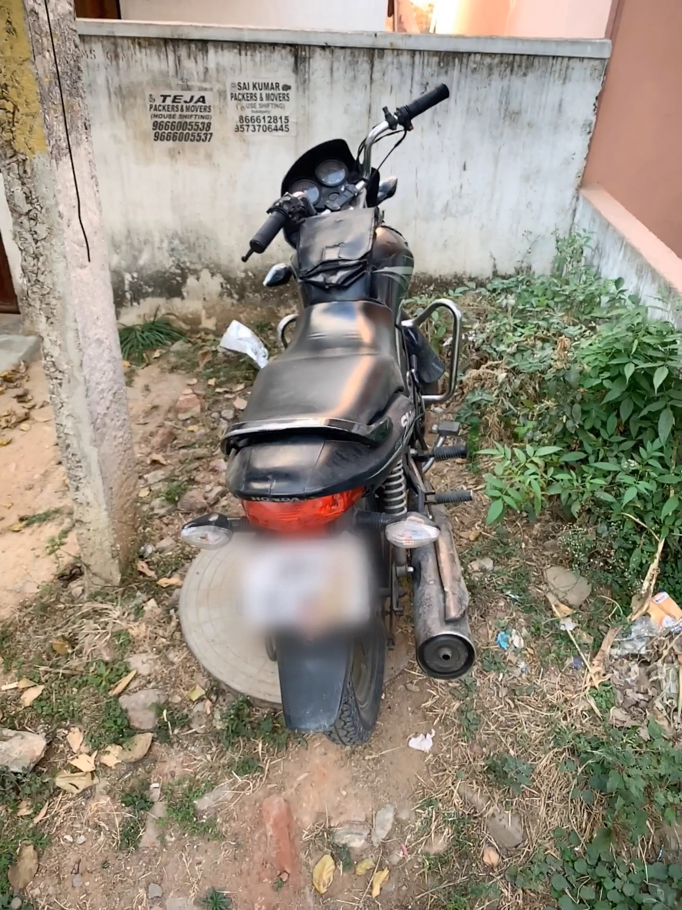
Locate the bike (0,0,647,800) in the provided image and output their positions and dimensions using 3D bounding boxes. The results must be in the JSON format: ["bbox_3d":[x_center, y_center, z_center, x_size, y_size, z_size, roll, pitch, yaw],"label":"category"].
[{"bbox_3d":[-0.026,-0.260,1.490,0.734,1.101,1.246,3,44,-1],"label":"bike"}]
